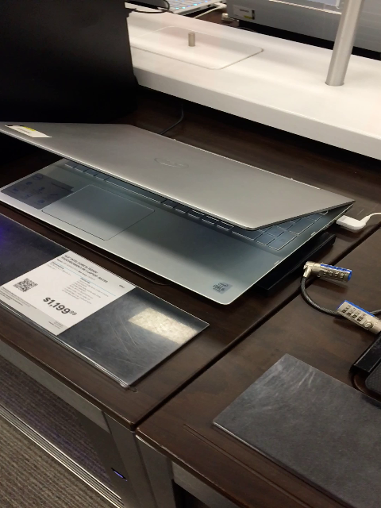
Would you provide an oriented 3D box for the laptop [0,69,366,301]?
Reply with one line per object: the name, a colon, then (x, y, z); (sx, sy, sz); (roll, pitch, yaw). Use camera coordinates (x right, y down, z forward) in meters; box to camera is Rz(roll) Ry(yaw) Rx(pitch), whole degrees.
laptop: (-0.042, -0.109, 0.624); (0.381, 0.108, 0.235); (25, 50, 26)
